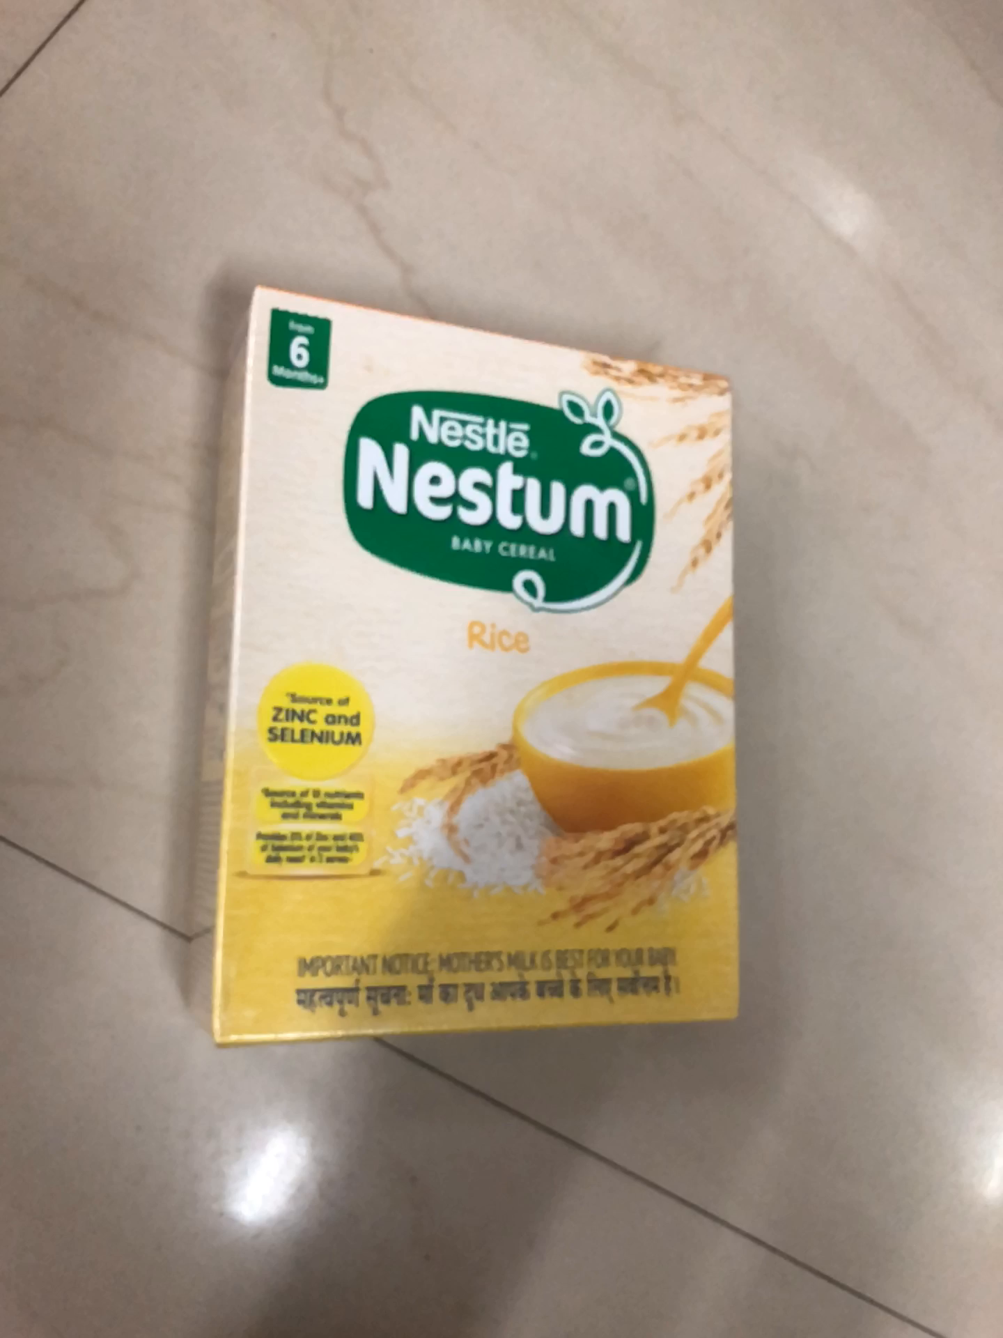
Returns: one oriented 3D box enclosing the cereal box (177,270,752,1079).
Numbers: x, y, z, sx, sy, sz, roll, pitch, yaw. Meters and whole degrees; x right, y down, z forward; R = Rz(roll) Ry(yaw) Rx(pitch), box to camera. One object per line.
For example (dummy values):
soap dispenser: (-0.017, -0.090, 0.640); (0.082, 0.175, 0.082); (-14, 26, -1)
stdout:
cereal box: (-0.008, 0.005, 0.331); (0.150, 0.060, 0.200); (4, 81, -21)
